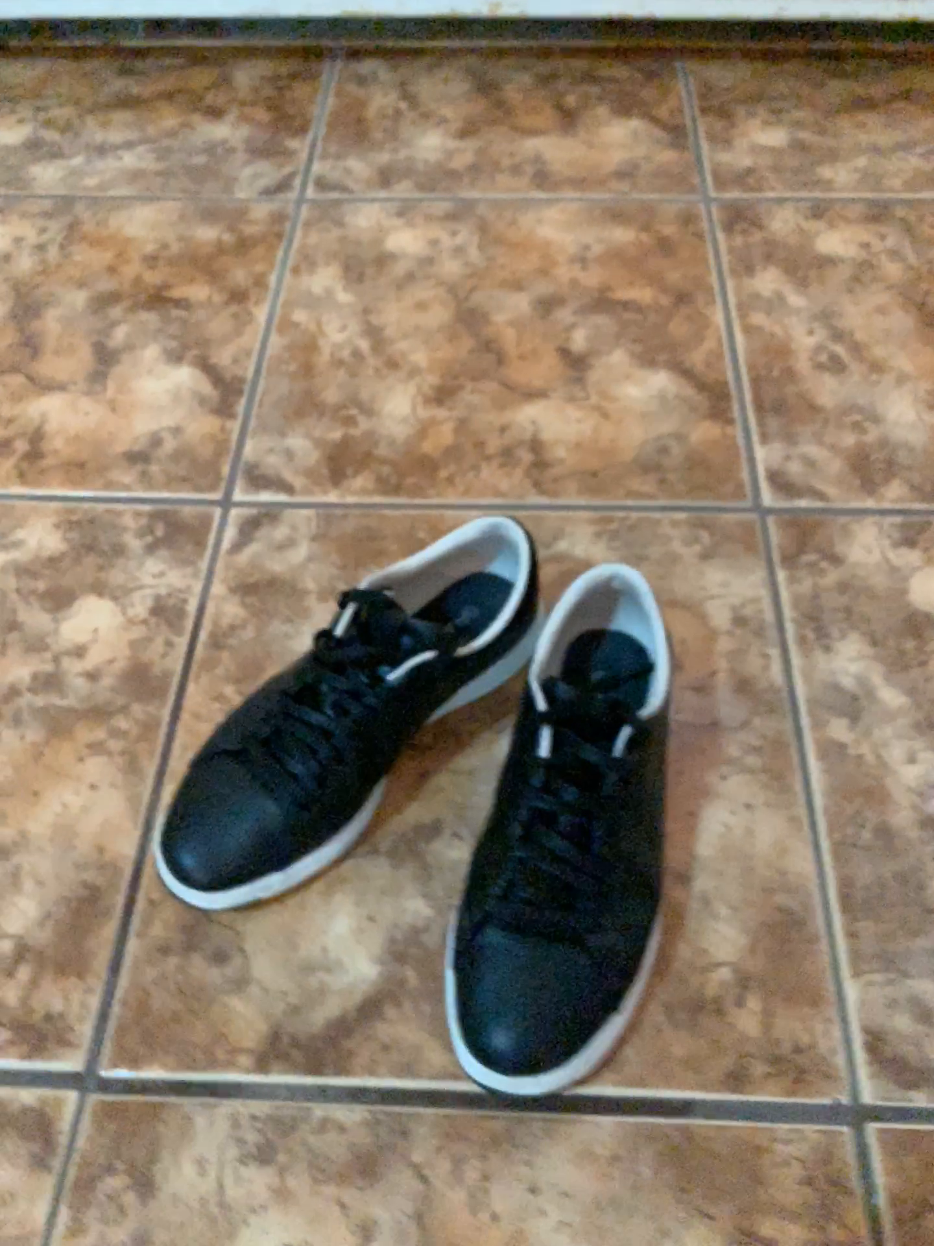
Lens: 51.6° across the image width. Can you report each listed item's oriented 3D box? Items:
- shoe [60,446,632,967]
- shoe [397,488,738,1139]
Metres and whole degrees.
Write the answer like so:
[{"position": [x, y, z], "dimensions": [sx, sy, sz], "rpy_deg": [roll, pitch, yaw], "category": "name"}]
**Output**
[{"position": [-0.044, 0.032, 0.467], "dimensions": [0.255, 0.093, 0.087], "rpy_deg": [-36, 61, -23], "category": "shoe"}, {"position": [0.053, 0.073, 0.436], "dimensions": [0.090, 0.103, 0.255], "rpy_deg": [12, 55, 9], "category": "shoe"}]
